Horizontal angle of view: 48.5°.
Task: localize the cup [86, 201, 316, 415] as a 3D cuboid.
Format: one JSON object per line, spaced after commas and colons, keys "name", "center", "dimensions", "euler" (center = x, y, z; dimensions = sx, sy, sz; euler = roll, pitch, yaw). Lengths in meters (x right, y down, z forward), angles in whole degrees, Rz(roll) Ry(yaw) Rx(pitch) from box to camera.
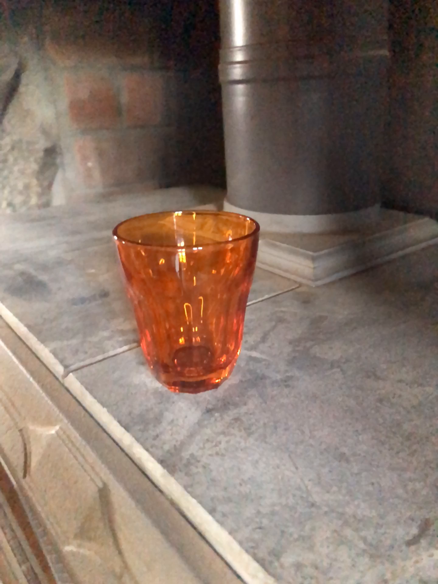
{"name": "cup", "center": [-0.009, -0.001, 0.251], "dimensions": [0.080, 0.070, 0.080], "euler": [-2, 22, 1]}
